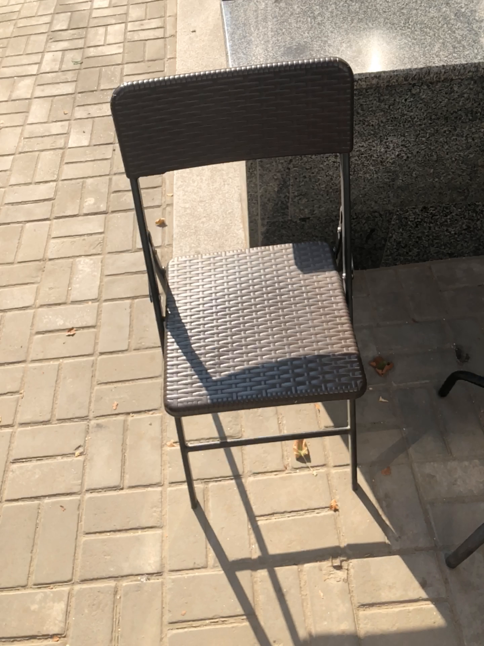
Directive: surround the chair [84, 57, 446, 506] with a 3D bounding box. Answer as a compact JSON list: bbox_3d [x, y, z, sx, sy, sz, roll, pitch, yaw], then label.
[{"bbox_3d":[0.025,-0.015,1.086,0.430,0.778,0.481,-6,54,-1],"label":"chair"}]
